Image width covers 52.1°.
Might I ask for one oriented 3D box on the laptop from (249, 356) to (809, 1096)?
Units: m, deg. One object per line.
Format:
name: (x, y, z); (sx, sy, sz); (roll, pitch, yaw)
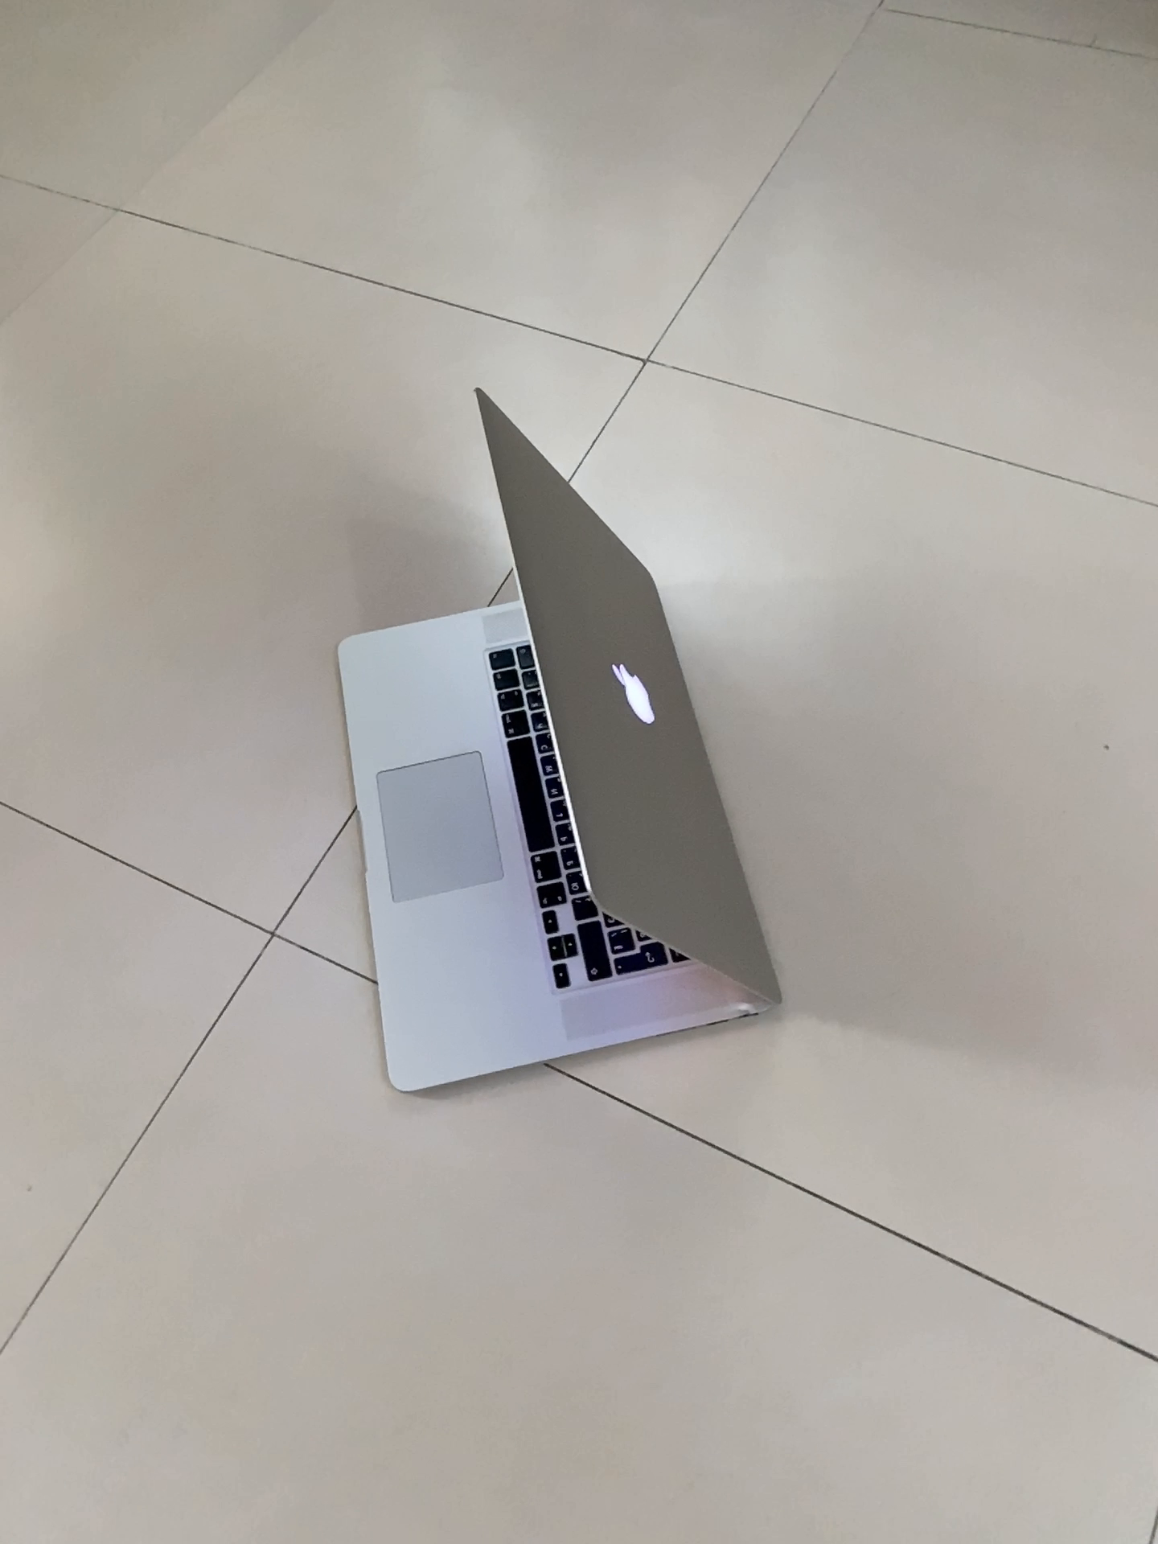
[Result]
laptop: (-0.041, -0.030, 0.728); (0.241, 0.208, 0.360); (-12, 60, -2)
